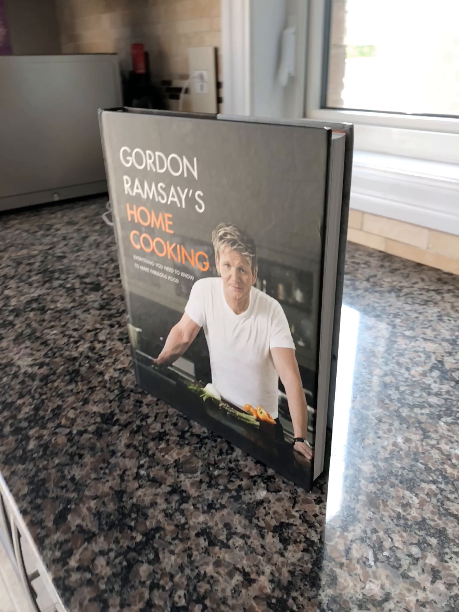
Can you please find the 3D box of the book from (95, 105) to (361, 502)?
[{"bbox_3d":[-0.013,-0.011,0.395,0.217,0.261,0.028,21,34,39],"label":"book"}]
